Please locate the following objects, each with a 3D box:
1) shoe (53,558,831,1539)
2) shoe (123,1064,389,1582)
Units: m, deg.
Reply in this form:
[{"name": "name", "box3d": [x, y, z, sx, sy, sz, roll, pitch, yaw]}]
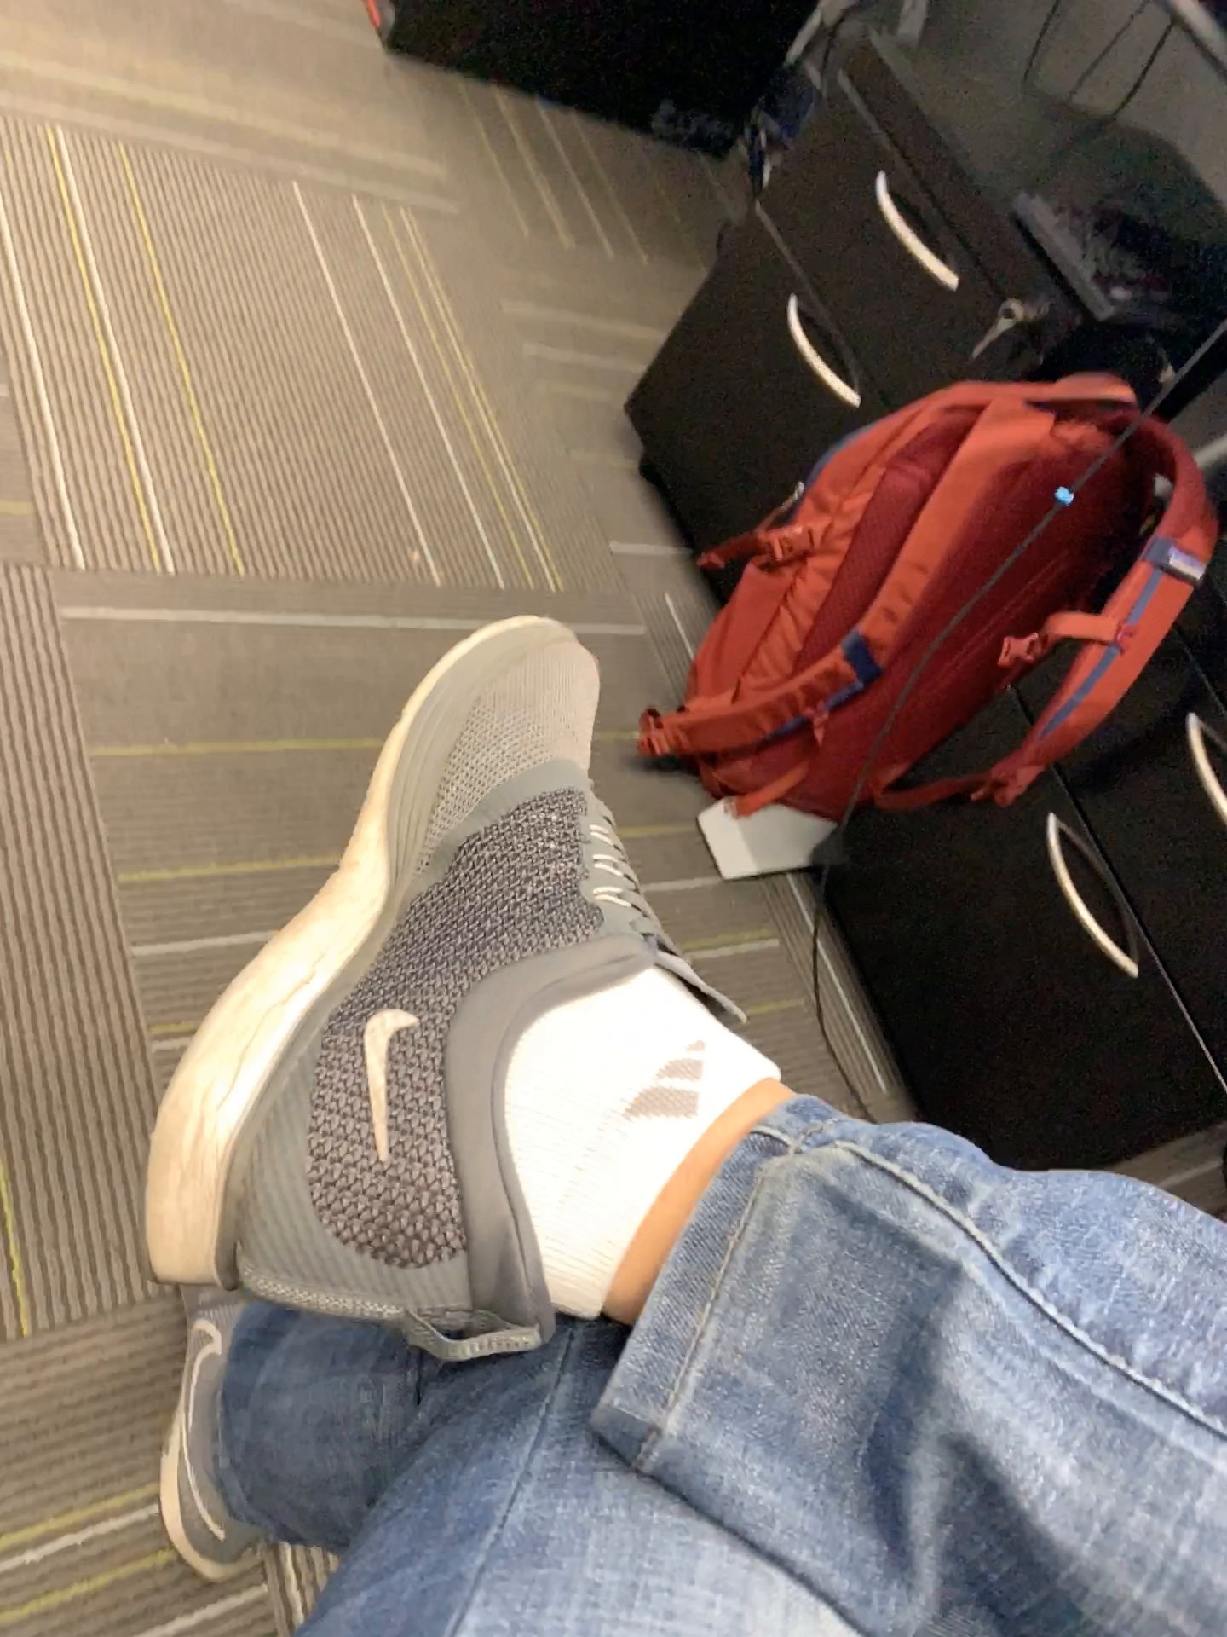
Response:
[{"name": "shoe", "box3d": [-0.022, 0.046, 0.423, 0.142, 0.116, 0.295, 8, 44, 13]}, {"name": "shoe", "box3d": [-0.223, 0.319, 0.814, 0.117, 0.074, 0.293, 15, 53, -24]}]
